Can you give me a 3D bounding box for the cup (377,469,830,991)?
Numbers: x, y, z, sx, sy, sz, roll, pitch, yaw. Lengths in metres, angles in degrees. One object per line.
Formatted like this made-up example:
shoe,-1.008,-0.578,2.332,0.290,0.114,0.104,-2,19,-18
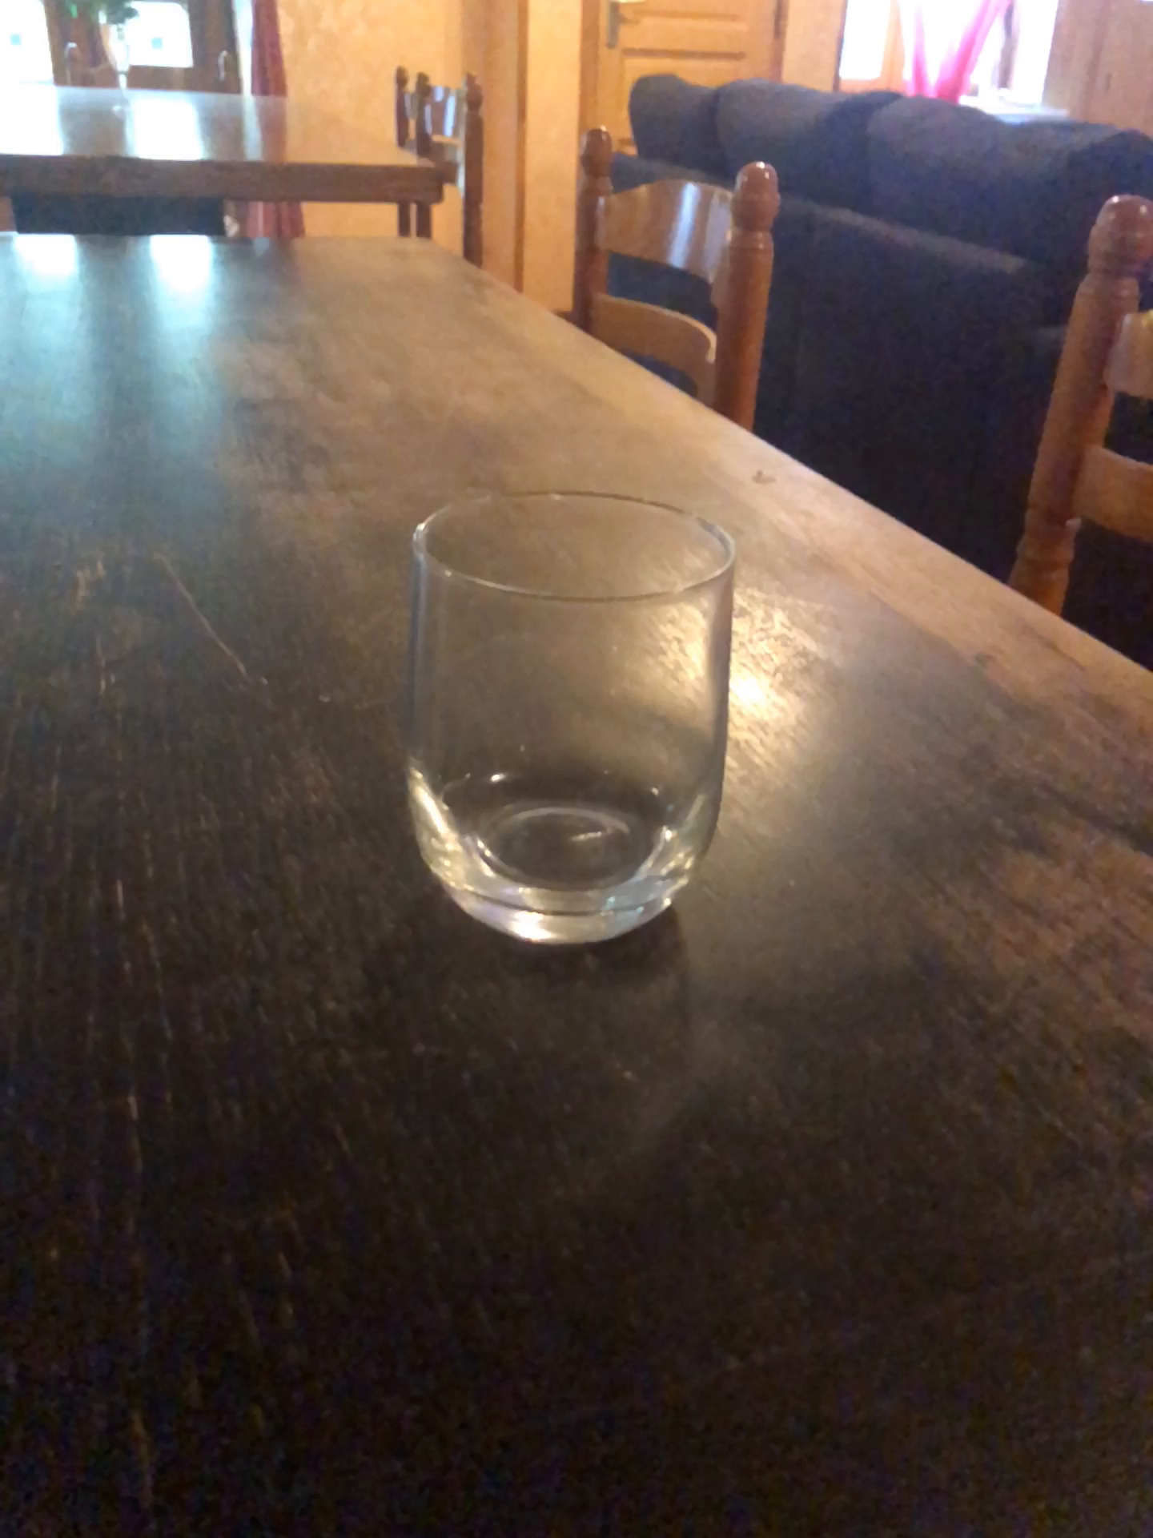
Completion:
cup,0.001,-0.014,0.291,0.071,0.084,0.078,2,29,-1
